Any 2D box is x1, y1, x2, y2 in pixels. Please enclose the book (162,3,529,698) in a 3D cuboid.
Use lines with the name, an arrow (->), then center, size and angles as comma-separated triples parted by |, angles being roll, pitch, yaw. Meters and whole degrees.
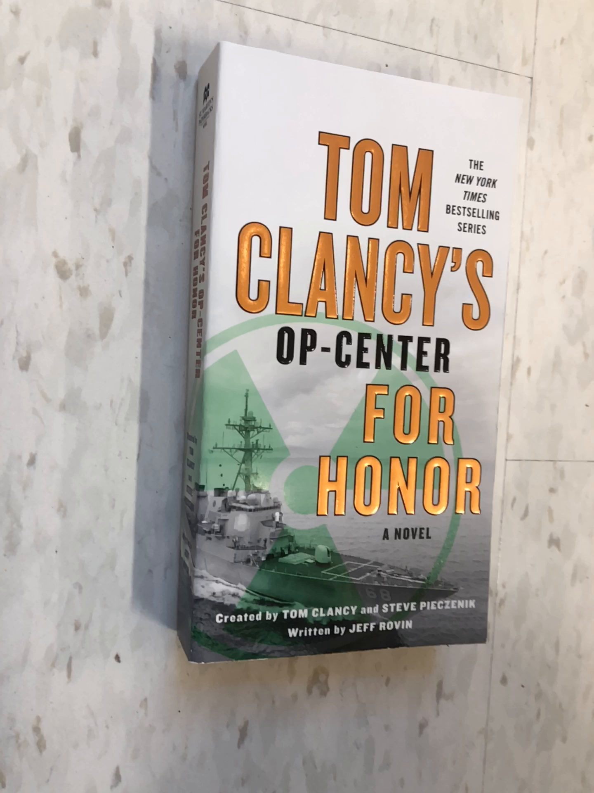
book -> 0.015, -0.011, 0.232 | 0.110, 0.050, 0.200 | 1, 92, -19
